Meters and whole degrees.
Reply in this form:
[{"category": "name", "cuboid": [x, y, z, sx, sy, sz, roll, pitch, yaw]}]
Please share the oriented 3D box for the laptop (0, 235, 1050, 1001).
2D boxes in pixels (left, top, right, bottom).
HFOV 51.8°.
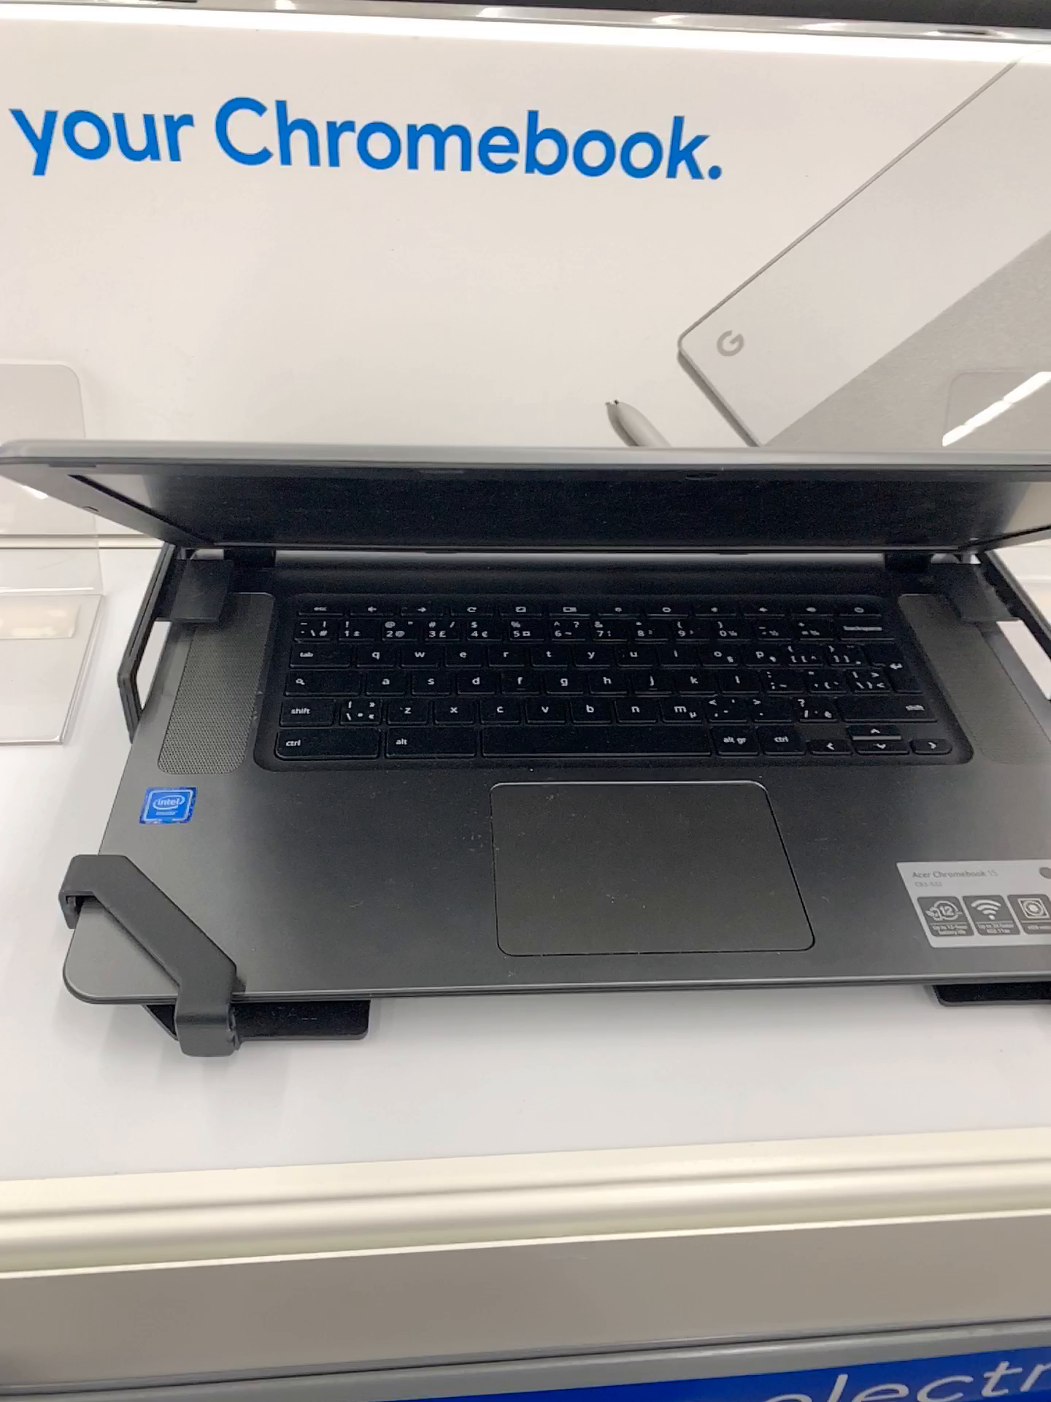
[{"category": "laptop", "cuboid": [0.033, -0.037, 0.311, 0.303, 0.119, 0.198, 0, 40, -4]}]
